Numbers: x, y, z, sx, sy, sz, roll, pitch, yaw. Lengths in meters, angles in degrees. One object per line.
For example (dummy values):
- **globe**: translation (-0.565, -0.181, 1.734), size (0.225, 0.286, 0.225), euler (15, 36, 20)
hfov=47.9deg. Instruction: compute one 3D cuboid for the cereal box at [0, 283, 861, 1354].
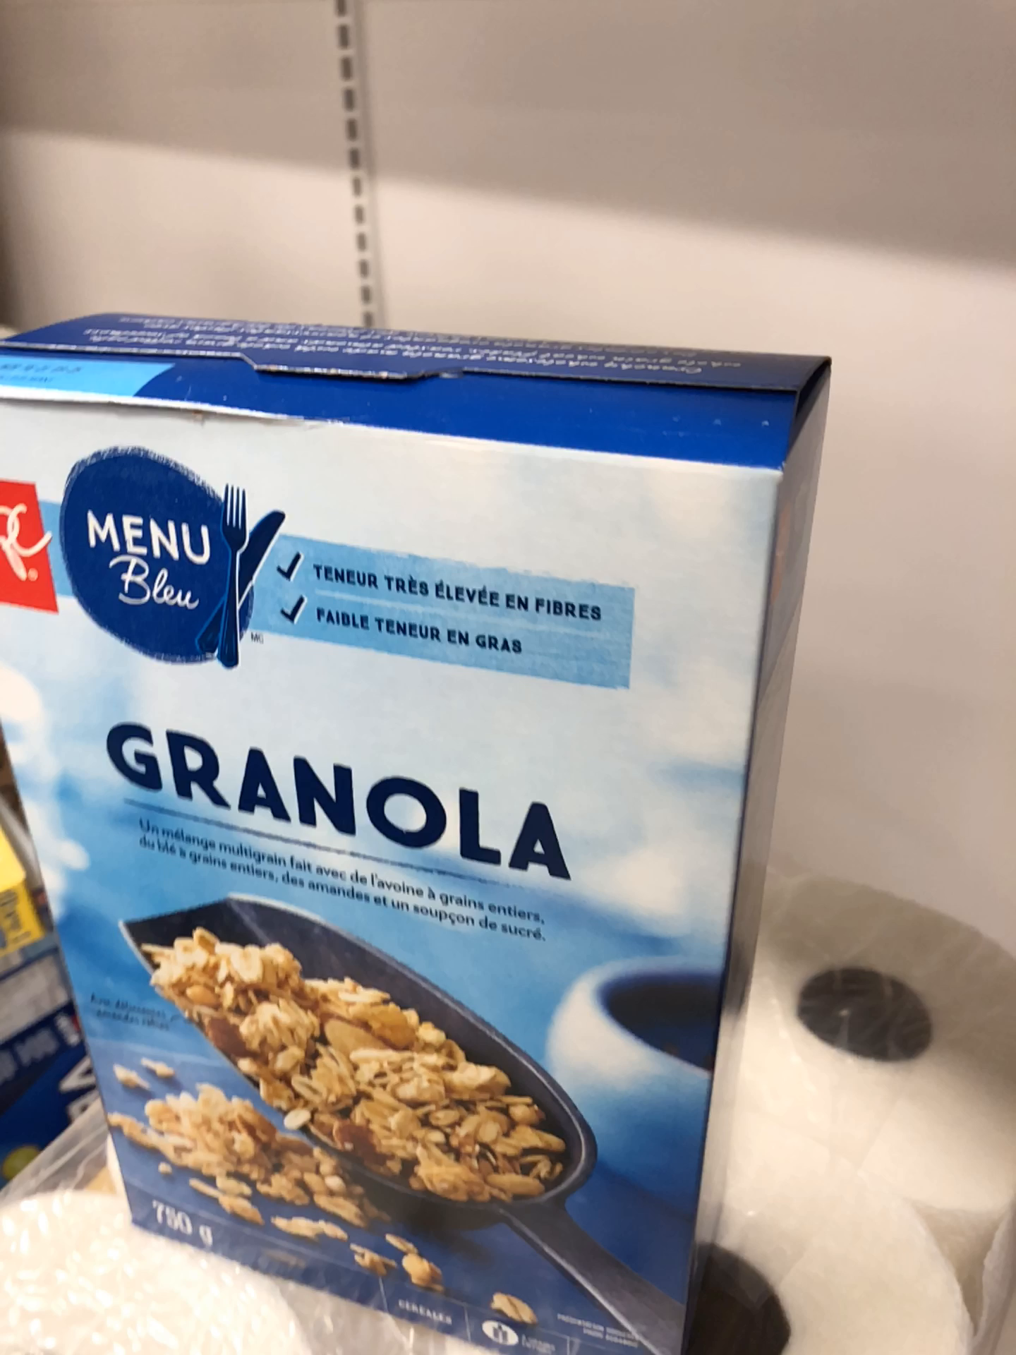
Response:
- **cereal box**: translation (-0.024, 0.047, 0.253), size (0.160, 0.239, 0.060), euler (10, 31, 19)
